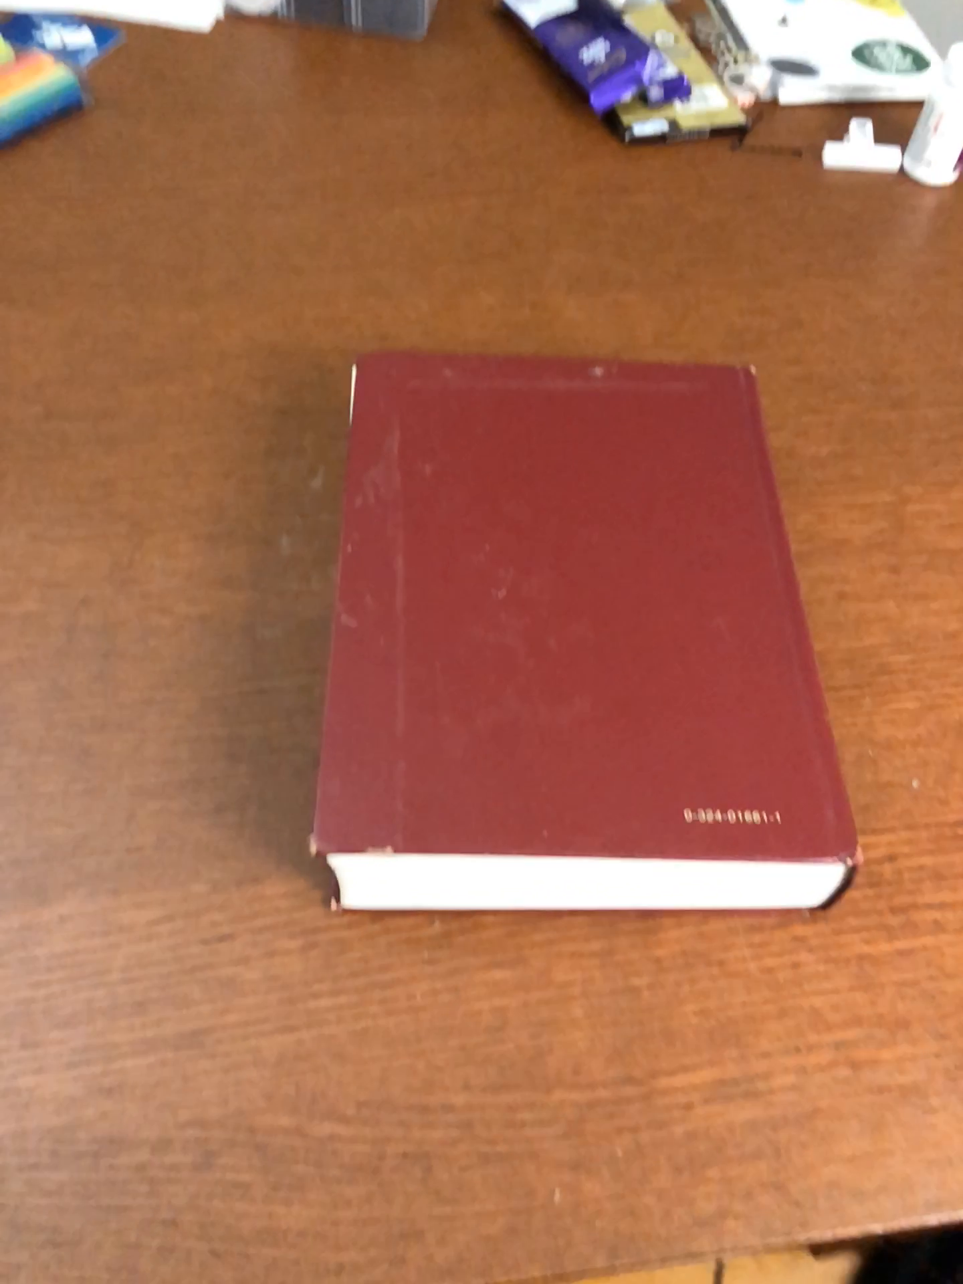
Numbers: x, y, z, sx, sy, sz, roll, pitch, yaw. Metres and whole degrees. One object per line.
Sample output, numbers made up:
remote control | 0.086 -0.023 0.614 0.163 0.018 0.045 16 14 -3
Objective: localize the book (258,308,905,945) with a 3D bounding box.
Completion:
book | 0.032 -0.021 0.470 0.220 0.070 0.292 2 55 -3
